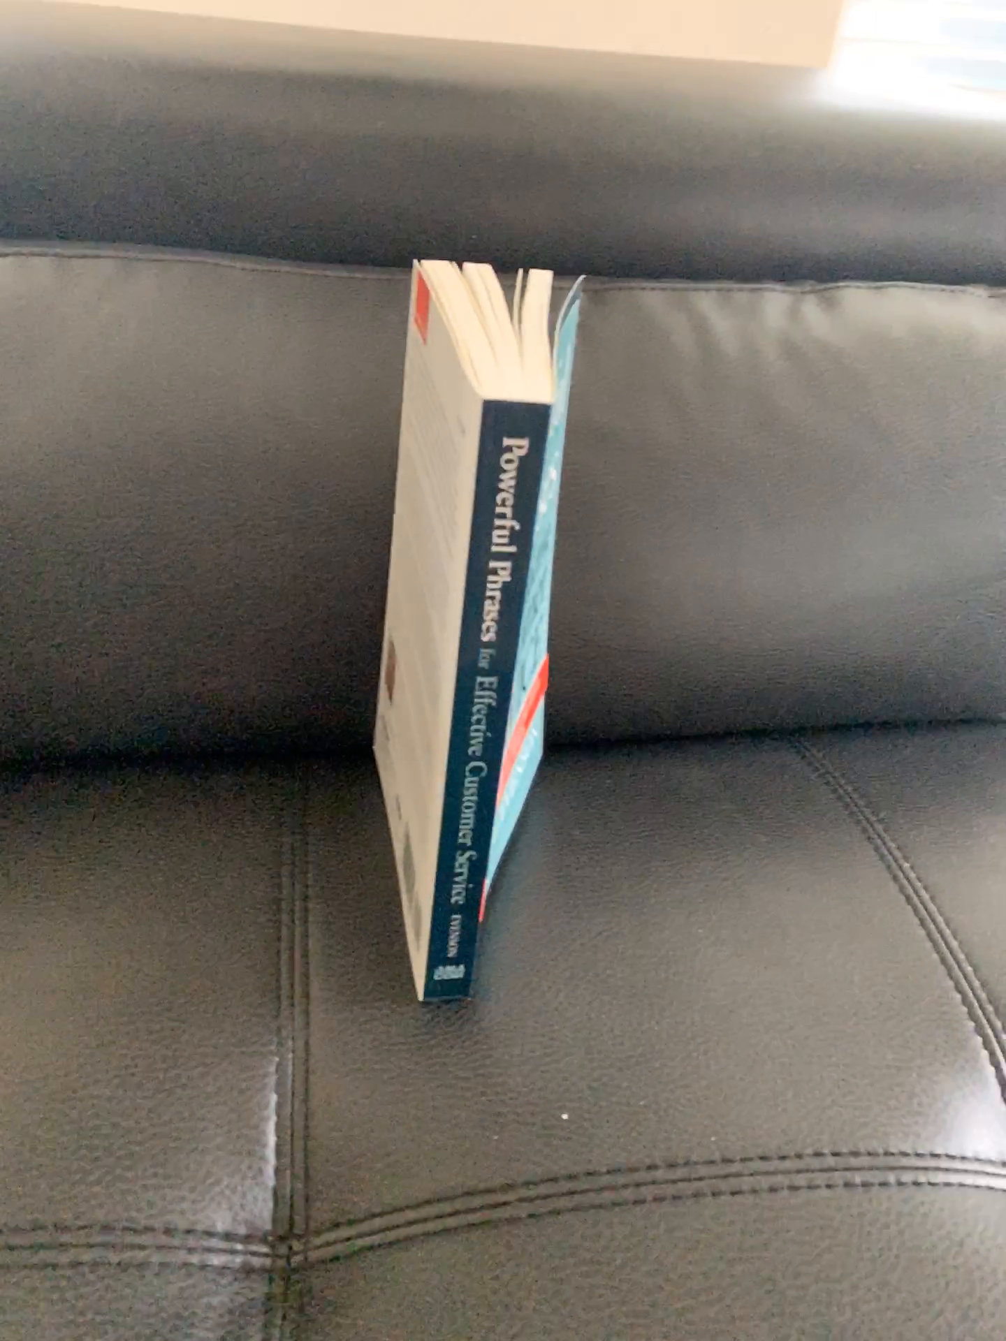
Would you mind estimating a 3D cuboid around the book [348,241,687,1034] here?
[{"bbox_3d":[-0.011,-0.011,0.391,0.082,0.246,0.163,3,34,-6],"label":"book"}]
